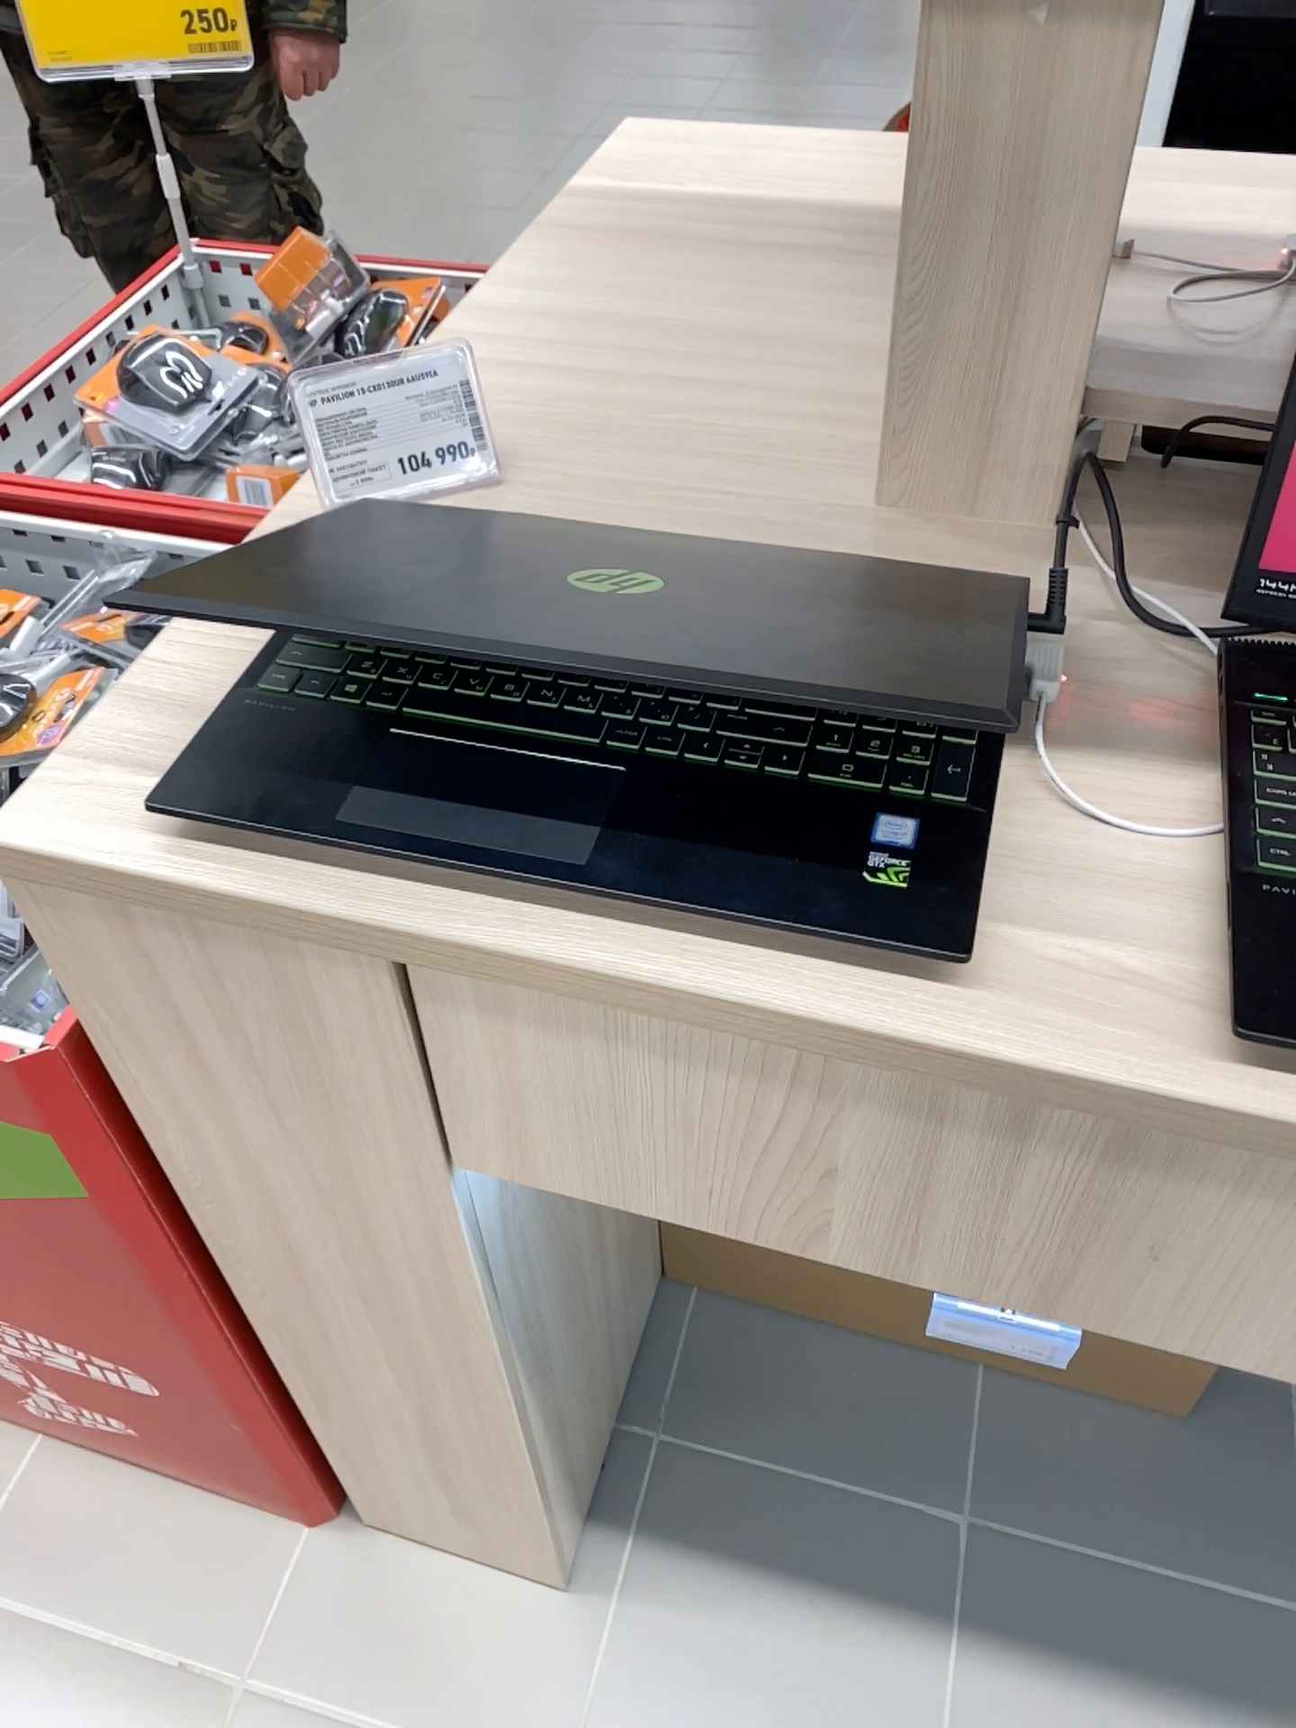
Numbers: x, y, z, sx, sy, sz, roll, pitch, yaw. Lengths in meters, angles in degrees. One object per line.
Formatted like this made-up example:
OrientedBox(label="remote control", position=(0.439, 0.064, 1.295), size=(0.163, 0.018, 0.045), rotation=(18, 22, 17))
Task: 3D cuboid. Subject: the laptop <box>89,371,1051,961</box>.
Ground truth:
OrientedBox(label="laptop", position=(-0.019, -0.111, 0.608), size=(0.366, 0.086, 0.241), rotation=(11, 48, 13))
